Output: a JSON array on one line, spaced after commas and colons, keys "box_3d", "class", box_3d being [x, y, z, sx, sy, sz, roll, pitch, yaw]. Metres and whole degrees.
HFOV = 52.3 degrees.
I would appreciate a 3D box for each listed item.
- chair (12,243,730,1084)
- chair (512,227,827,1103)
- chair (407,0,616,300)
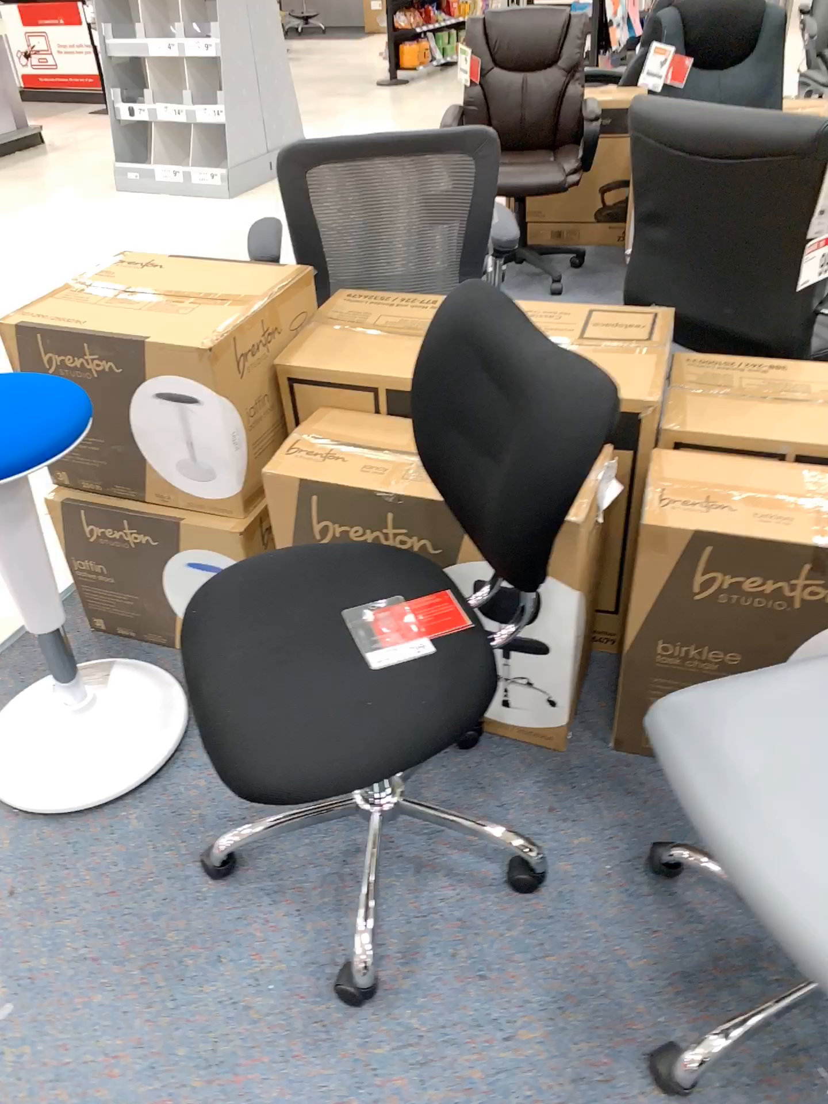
[{"box_3d": [-0.091, 0.129, 1.244, 0.657, 0.879, 0.650, -14, 38, -14], "class": "chair"}, {"box_3d": [0.615, 0.280, 0.938, 0.708, 0.959, 0.740, -18, 39, -19], "class": "chair"}, {"box_3d": [0.443, -1.764, 3.629, 0.737, 1.048, 0.871, 4, 37, 11], "class": "chair"}]
